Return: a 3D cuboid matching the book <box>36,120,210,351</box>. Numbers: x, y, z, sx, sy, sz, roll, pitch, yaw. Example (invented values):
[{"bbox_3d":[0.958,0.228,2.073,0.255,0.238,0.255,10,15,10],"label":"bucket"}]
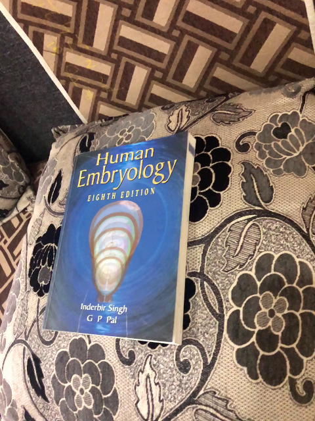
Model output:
[{"bbox_3d":[-0.040,0.024,0.447,0.201,0.030,0.270,-4,67,26],"label":"book"}]
